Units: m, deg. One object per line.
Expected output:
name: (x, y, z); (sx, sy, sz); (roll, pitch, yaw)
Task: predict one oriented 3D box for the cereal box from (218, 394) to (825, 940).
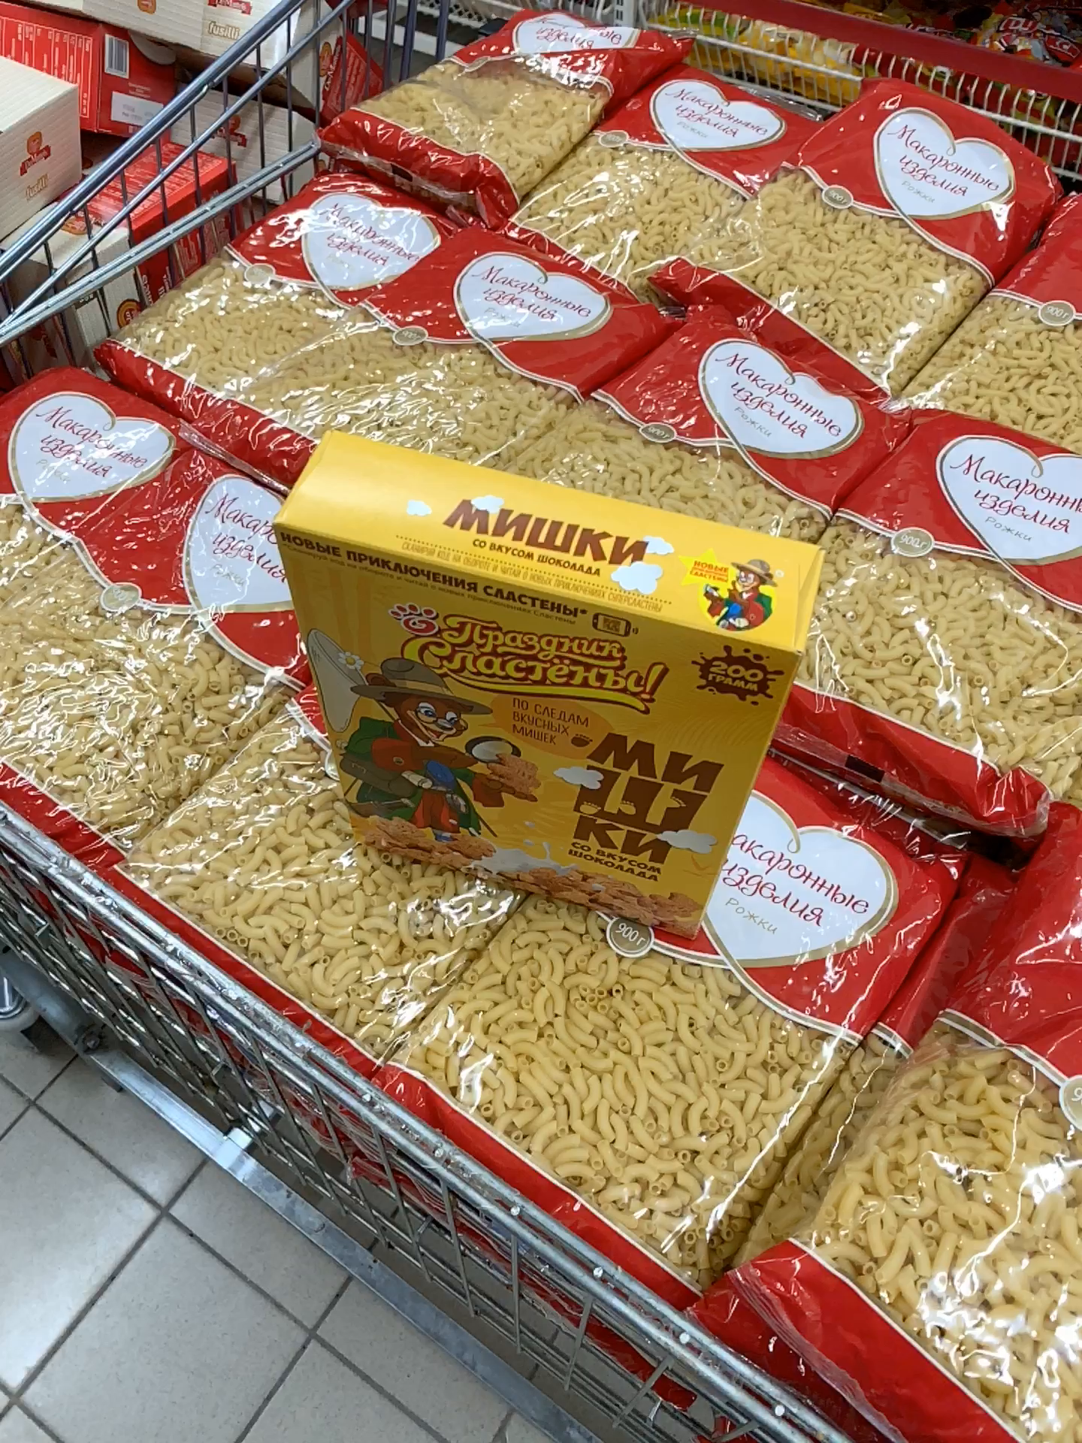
cereal box: (-0.006, -0.004, 0.416); (0.170, 0.219, 0.050); (15, 60, 9)
